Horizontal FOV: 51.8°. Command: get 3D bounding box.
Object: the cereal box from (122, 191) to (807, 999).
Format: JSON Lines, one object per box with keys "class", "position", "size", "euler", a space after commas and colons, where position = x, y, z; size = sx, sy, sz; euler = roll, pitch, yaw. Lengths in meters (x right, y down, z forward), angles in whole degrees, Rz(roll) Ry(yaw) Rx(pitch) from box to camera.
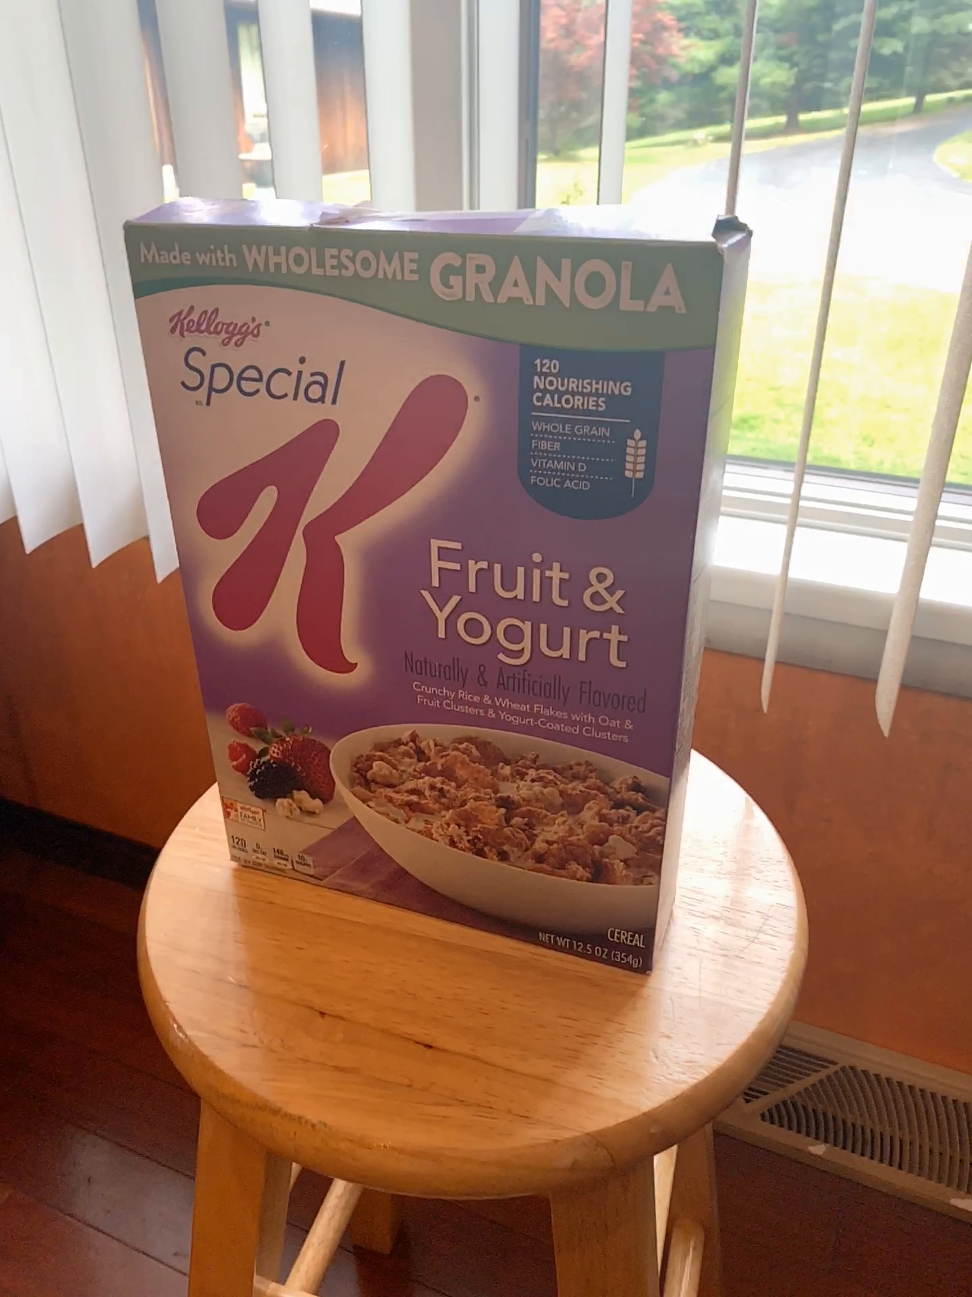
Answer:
{"class": "cereal box", "position": [-0.009, -0.019, 0.389], "size": [0.210, 0.278, 0.070], "euler": [10, 30, 18]}
